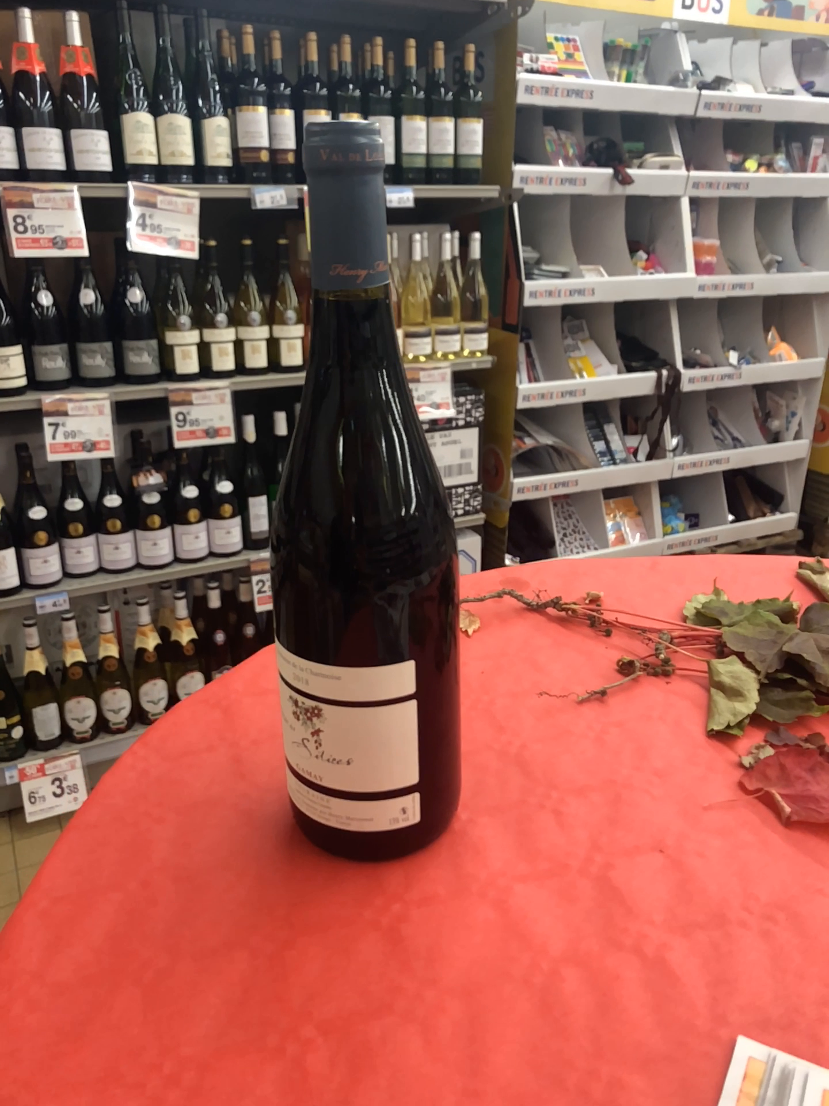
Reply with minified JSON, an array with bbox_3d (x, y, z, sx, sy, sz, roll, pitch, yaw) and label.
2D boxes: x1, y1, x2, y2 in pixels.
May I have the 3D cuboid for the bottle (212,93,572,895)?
[{"bbox_3d":[-0.009,-0.021,0.373,0.090,0.289,0.090,0,21,0],"label":"bottle"}]
